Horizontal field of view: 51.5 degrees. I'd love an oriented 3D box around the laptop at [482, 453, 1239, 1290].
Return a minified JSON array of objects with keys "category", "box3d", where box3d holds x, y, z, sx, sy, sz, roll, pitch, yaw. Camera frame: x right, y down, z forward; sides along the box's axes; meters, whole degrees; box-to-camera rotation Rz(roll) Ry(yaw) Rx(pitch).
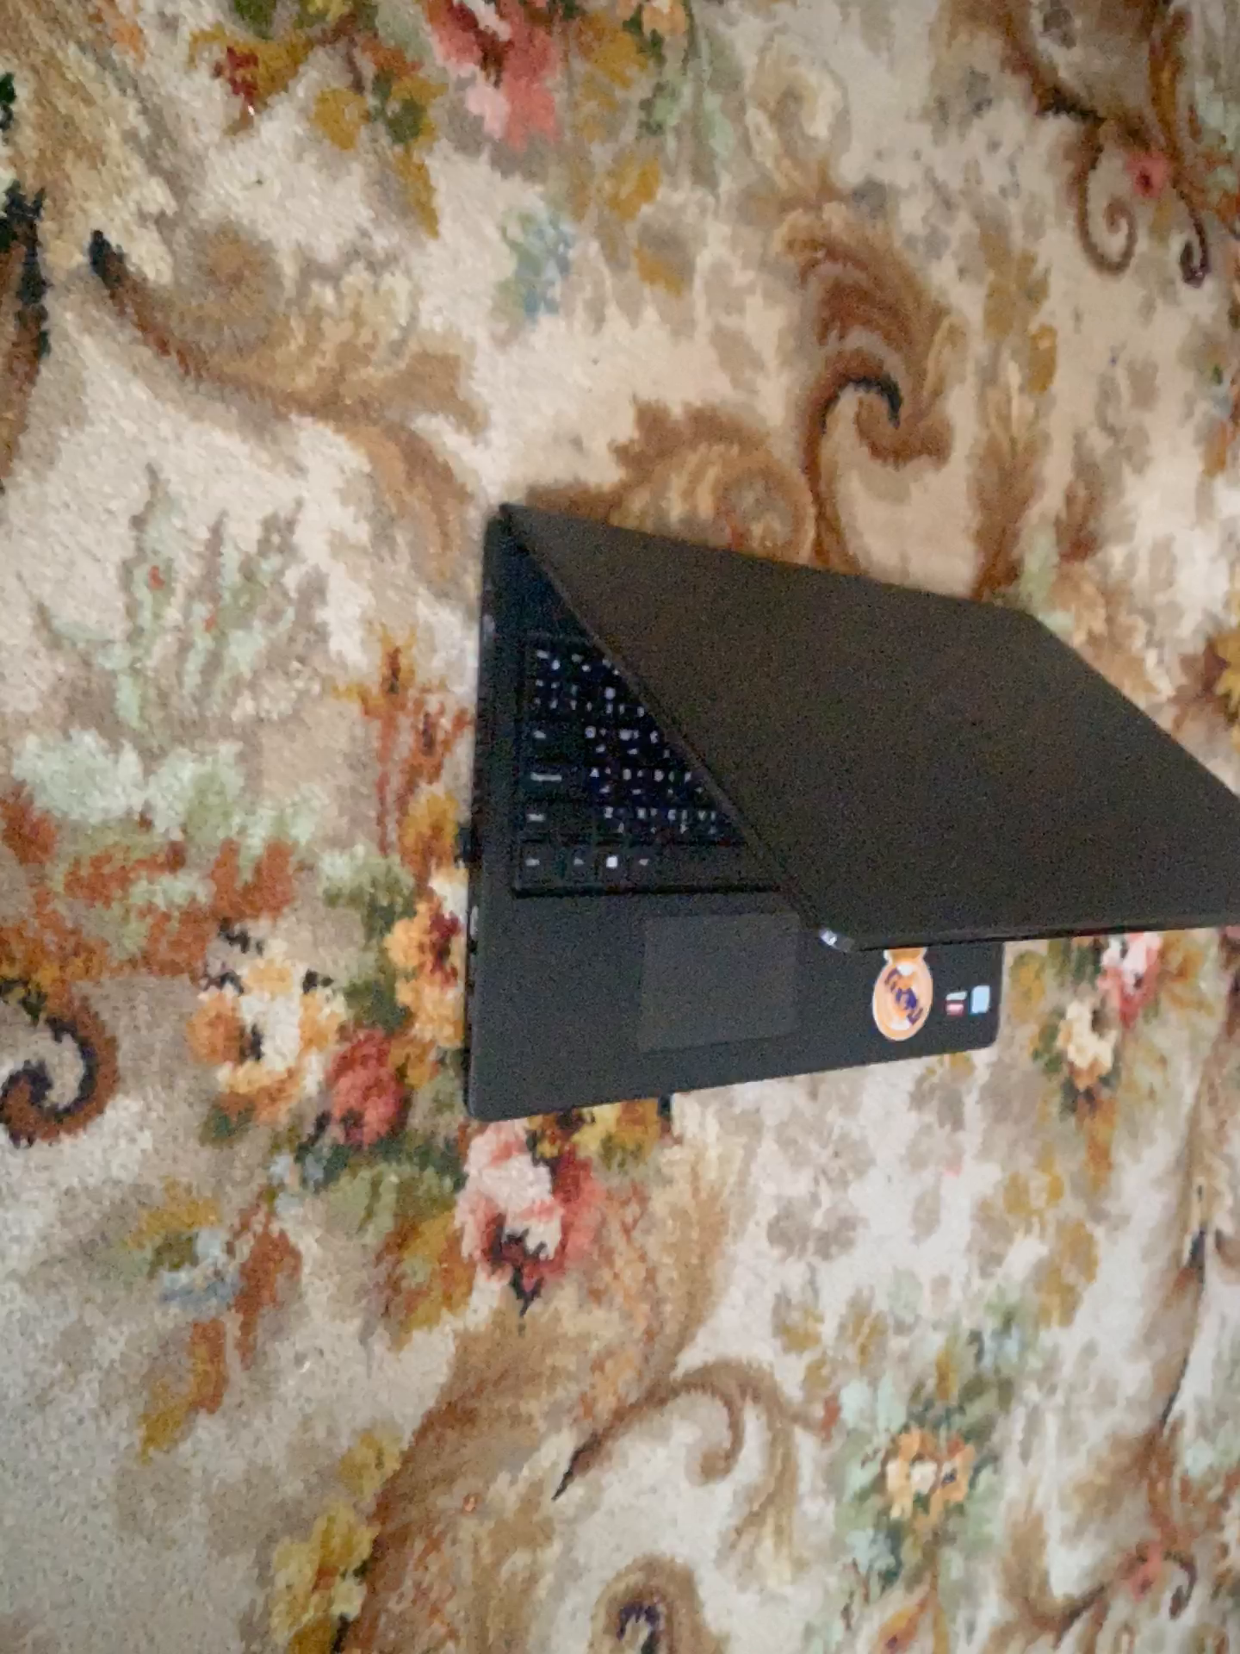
[{"category":"laptop","box3d":[0.148,0.008,0.579,0.369,0.193,0.251,0,93,-40]}]
